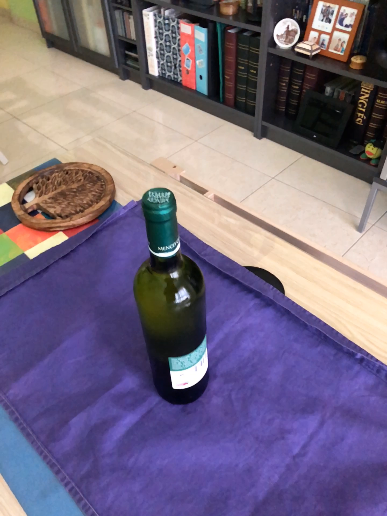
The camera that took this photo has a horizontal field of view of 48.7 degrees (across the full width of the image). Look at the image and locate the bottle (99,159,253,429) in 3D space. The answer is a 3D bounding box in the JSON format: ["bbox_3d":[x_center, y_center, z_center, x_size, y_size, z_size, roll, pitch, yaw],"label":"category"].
[{"bbox_3d":[-0.011,0.053,0.422,0.090,0.269,0.090,-2,46,2],"label":"bottle"}]
